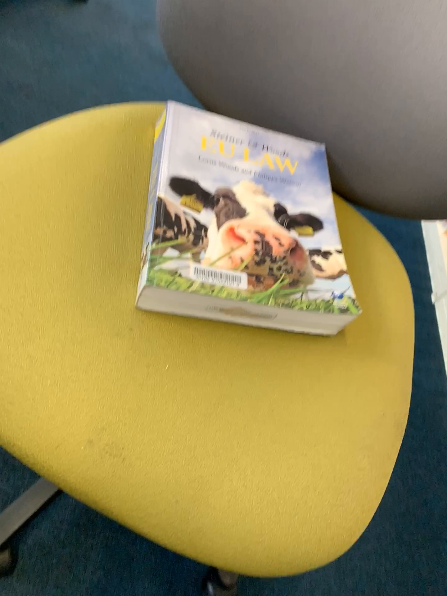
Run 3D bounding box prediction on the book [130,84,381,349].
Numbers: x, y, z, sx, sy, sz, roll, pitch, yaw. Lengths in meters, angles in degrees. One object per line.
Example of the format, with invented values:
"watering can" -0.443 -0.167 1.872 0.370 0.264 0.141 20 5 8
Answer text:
"book" 0.025 -0.089 0.452 0.200 0.050 0.262 10 52 -16
